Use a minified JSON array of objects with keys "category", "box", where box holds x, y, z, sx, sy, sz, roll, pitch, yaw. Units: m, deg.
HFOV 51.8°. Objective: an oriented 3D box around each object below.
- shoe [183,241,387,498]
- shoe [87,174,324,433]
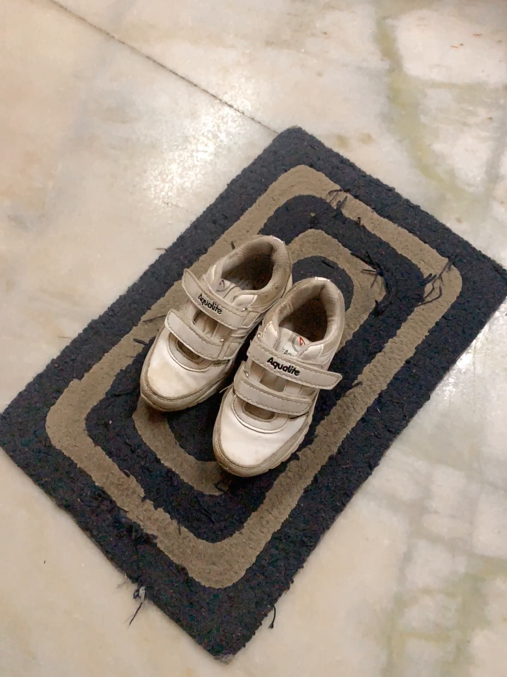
[{"category":"shoe","box":[0.029,0.029,0.450,0.080,0.090,0.190,27,74,9]},{"category":"shoe","box":[-0.034,-0.028,0.458,0.080,0.090,0.200,36,76,12]}]
